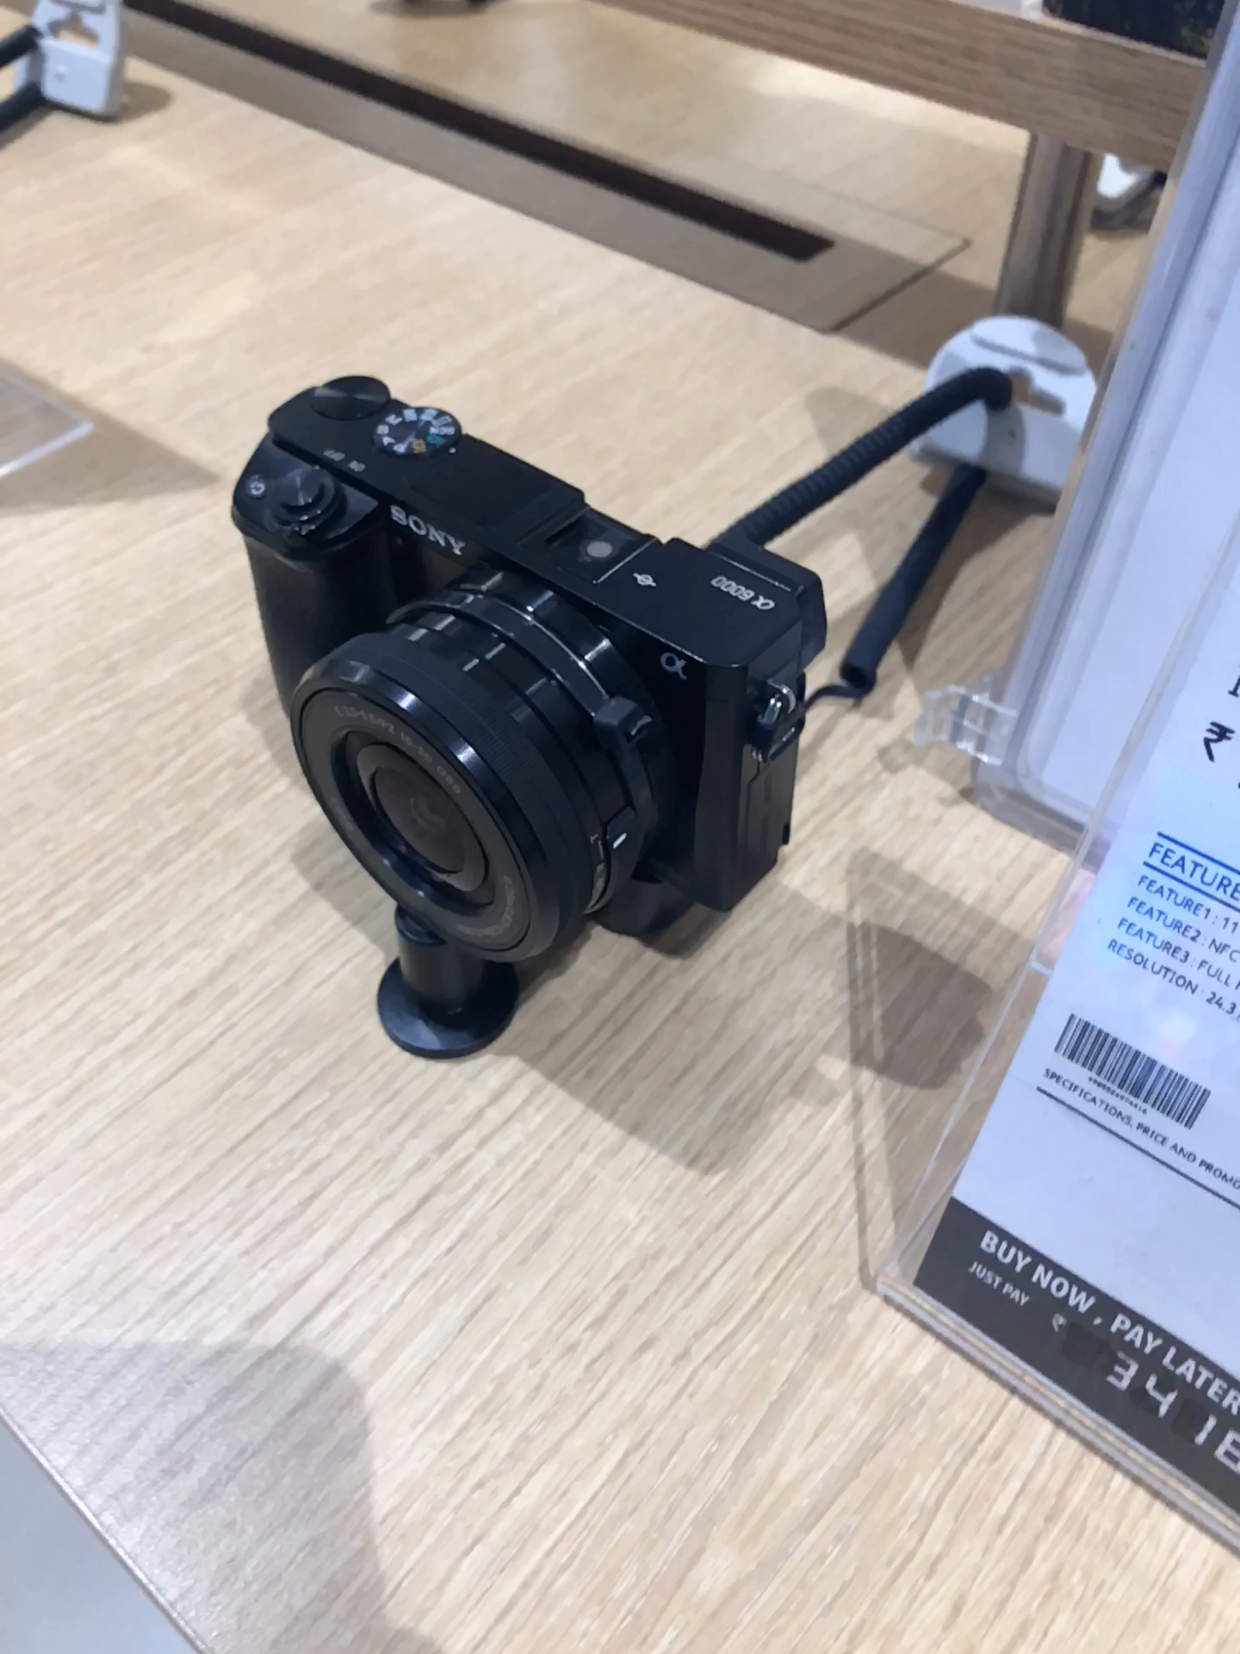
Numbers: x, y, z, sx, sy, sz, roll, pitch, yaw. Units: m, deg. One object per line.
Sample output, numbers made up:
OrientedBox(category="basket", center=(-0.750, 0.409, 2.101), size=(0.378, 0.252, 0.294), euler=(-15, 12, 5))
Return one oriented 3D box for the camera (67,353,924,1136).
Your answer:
OrientedBox(category="camera", center=(-0.024, -0.021, 0.257), size=(0.130, 0.070, 0.070), euler=(31, 54, 26))
